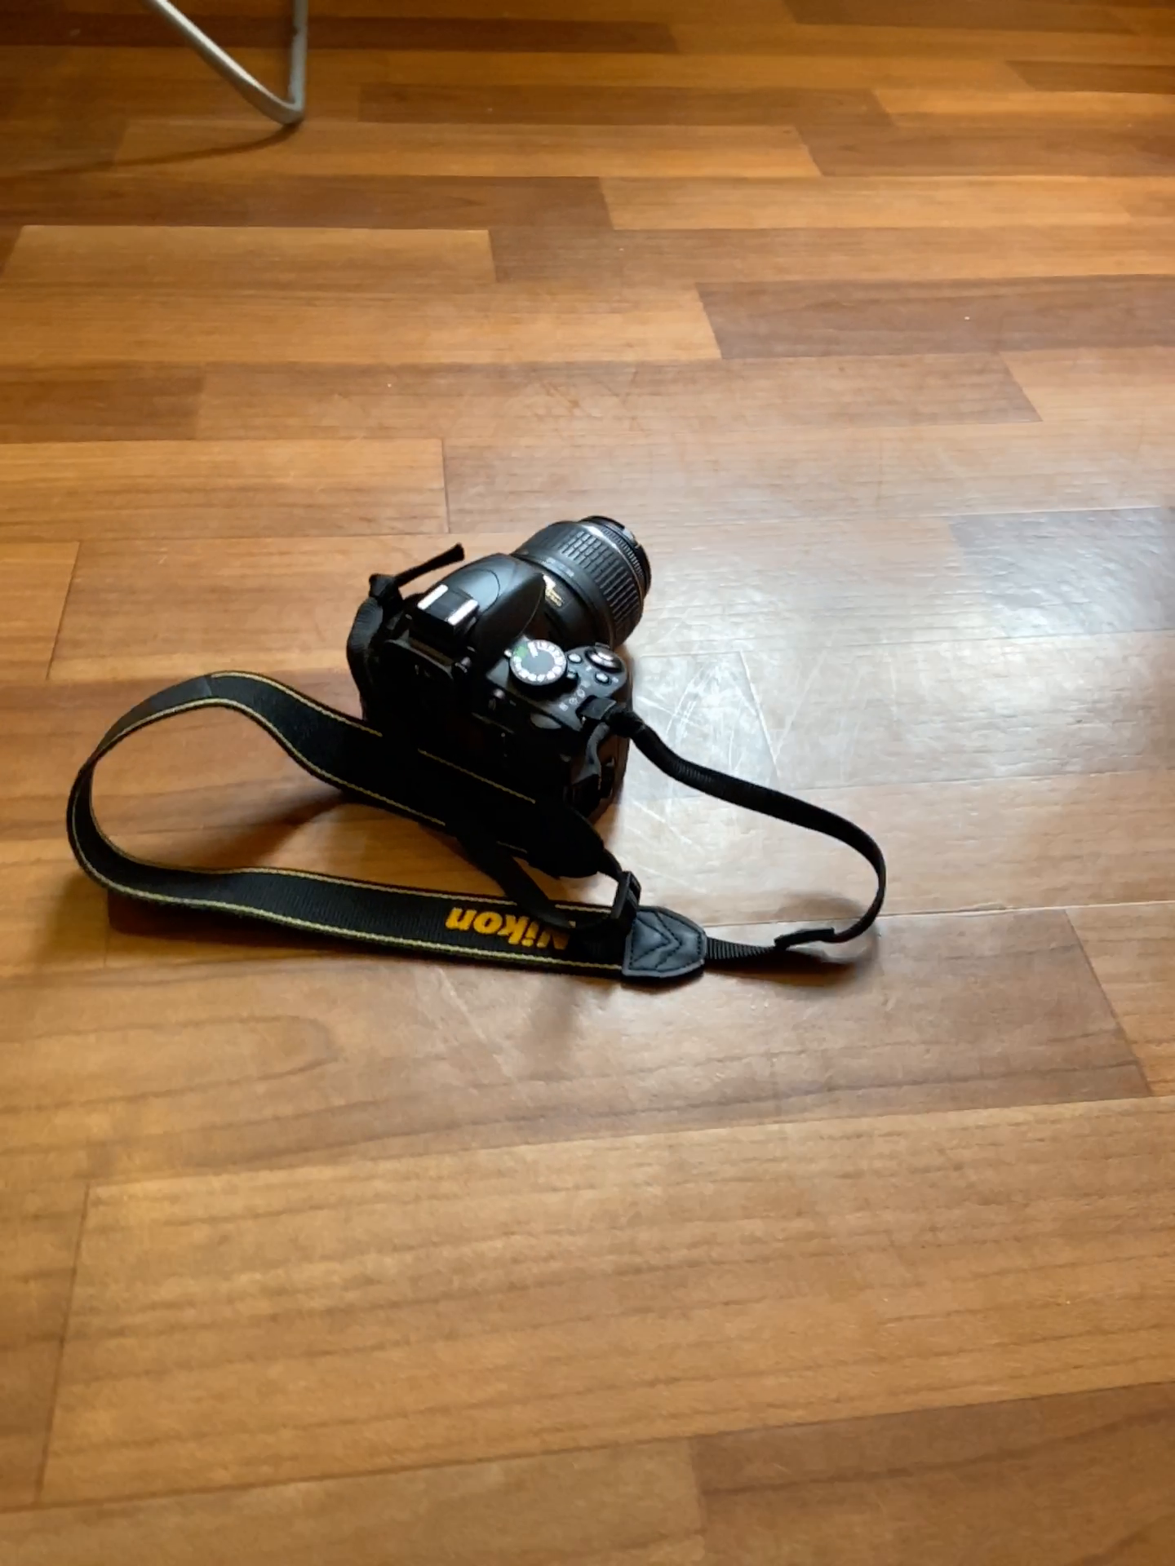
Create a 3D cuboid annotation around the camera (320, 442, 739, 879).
[{"bbox_3d":[-0.023,-0.063,0.566,0.120,0.100,0.154,26,51,18],"label":"camera"}]
